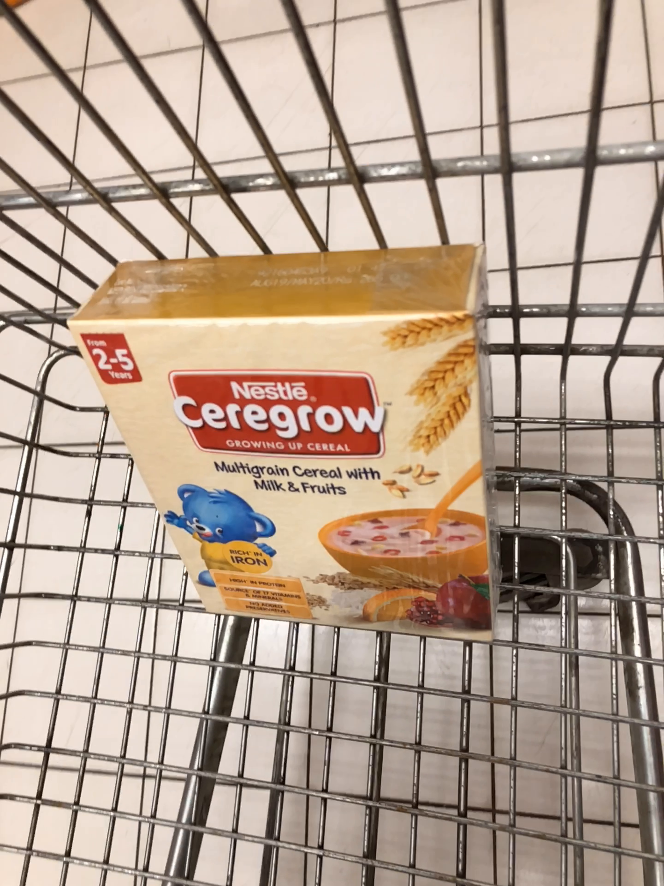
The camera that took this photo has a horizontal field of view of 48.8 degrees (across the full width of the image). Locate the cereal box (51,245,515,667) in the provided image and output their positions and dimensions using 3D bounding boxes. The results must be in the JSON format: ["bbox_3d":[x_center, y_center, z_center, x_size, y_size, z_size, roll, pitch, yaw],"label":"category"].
[{"bbox_3d":[-0.003,0.016,0.321,0.160,0.189,0.050,2,43,16],"label":"cereal box"}]
